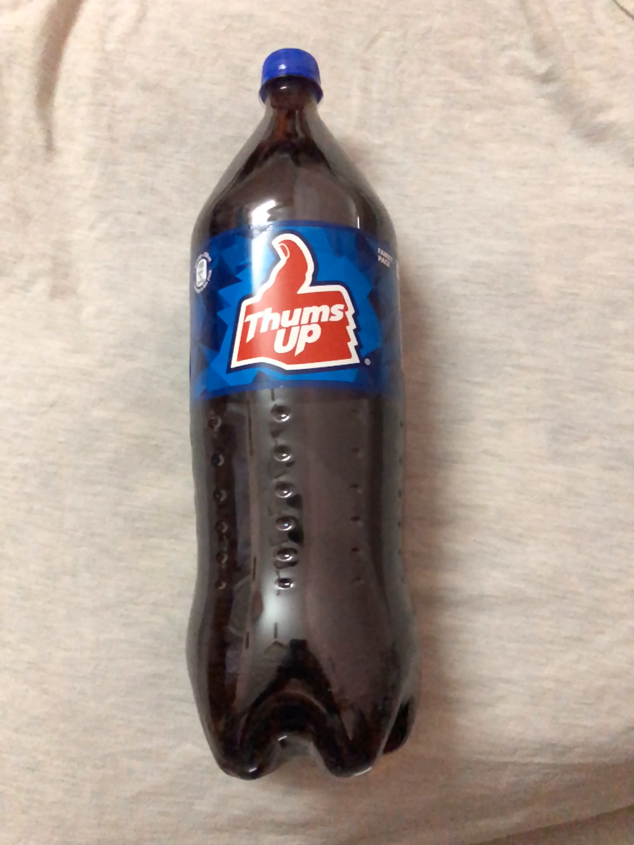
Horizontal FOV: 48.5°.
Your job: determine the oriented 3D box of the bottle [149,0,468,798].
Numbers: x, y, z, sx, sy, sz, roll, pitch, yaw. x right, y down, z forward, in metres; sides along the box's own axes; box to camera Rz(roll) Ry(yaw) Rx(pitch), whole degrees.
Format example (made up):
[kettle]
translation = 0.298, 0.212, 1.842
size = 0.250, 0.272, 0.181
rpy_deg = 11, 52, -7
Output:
[bottle]
translation = -0.008, -0.026, 0.277
size = 0.100, 0.060, 0.300
rpy_deg = -3, 79, 2
